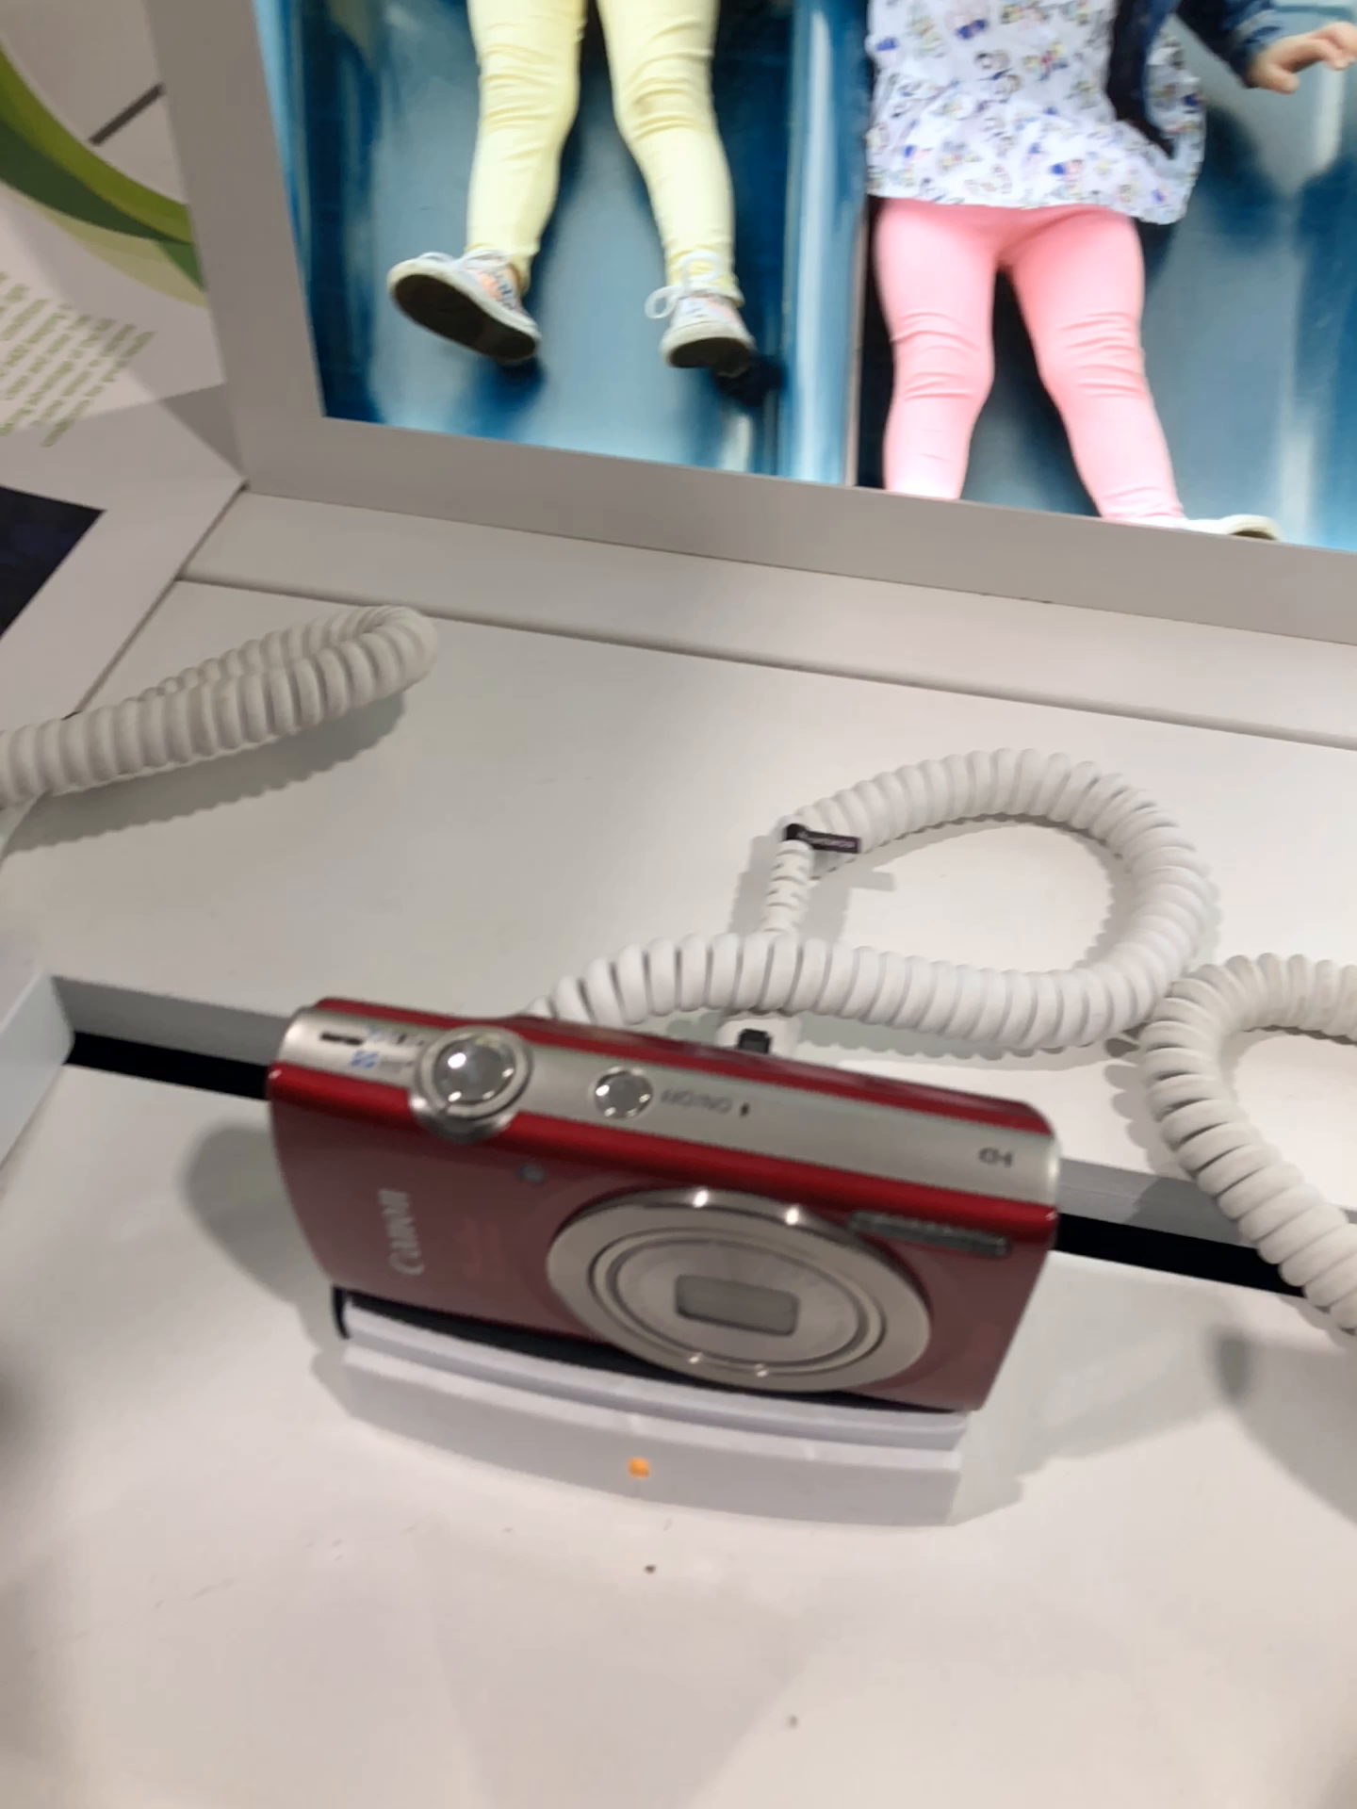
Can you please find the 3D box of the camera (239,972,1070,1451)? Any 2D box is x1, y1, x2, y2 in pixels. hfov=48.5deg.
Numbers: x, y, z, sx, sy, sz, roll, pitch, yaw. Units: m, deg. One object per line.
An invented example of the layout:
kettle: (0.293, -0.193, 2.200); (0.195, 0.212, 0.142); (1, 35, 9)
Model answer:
camera: (-0.003, 0.040, 0.190); (0.093, 0.050, 0.022); (8, 46, 6)
